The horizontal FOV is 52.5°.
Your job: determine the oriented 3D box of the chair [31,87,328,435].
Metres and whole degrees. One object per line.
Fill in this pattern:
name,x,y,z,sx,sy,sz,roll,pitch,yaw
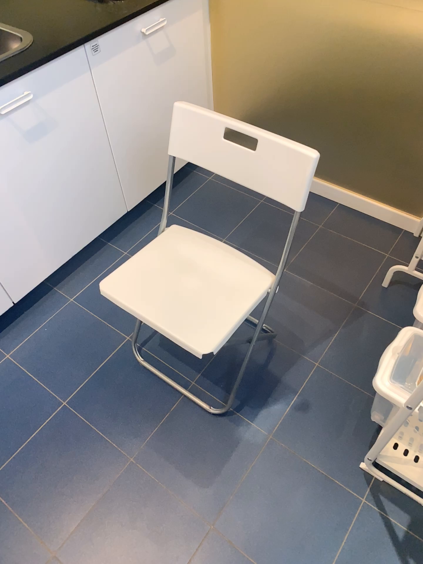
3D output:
chair,-0.044,-0.017,1.165,0.441,0.748,0.421,29,58,24
